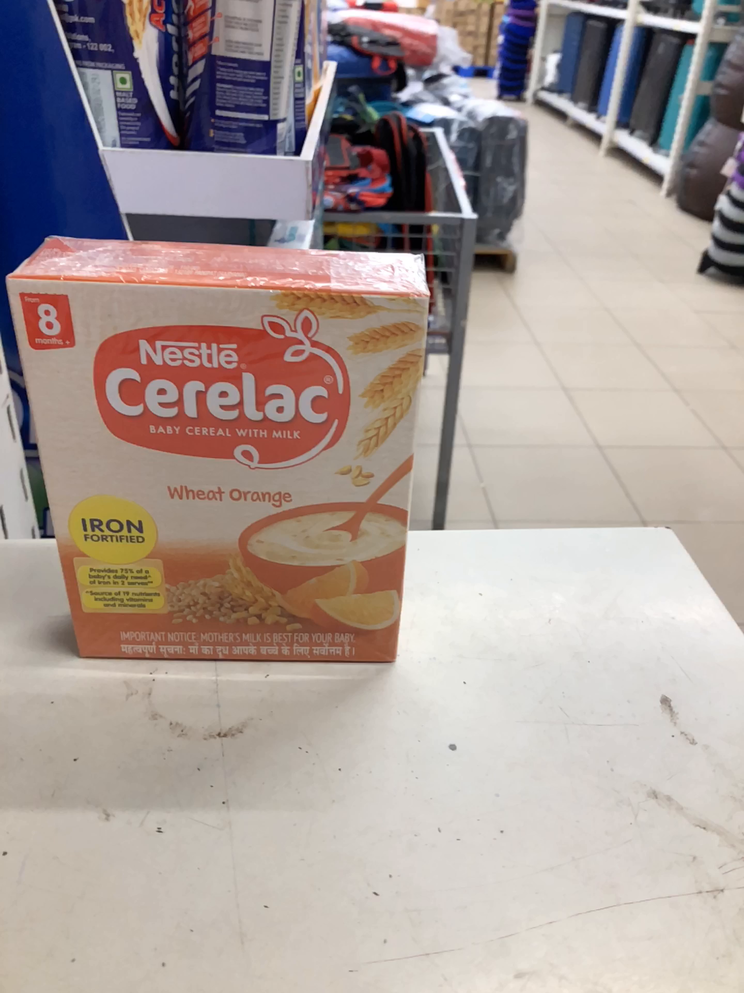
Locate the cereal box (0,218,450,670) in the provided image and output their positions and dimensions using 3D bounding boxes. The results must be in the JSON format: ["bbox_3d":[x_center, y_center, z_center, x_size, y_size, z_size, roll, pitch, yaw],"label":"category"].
[{"bbox_3d":[-0.057,-0.013,0.369,0.160,0.199,0.050,2,34,-3],"label":"cereal box"}]
